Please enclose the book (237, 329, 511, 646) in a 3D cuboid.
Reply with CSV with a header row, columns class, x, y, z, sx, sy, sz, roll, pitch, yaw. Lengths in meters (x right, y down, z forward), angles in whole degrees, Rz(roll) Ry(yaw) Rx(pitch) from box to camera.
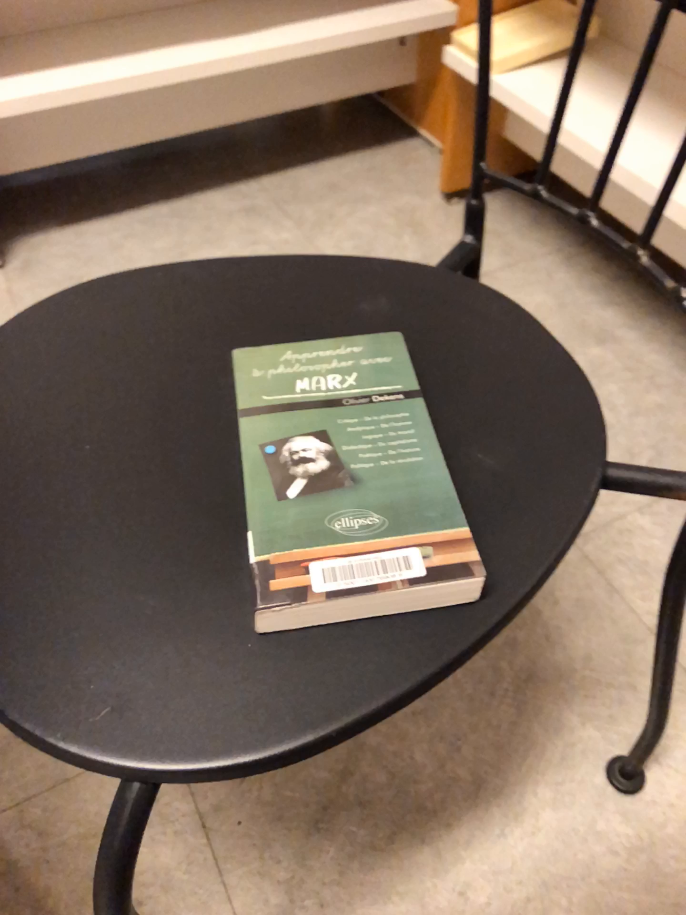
class,x,y,z,sx,sy,sz,roll,pitch,yaw
book,0.006,0.004,0.392,0.110,0.024,0.178,-7,48,-5
